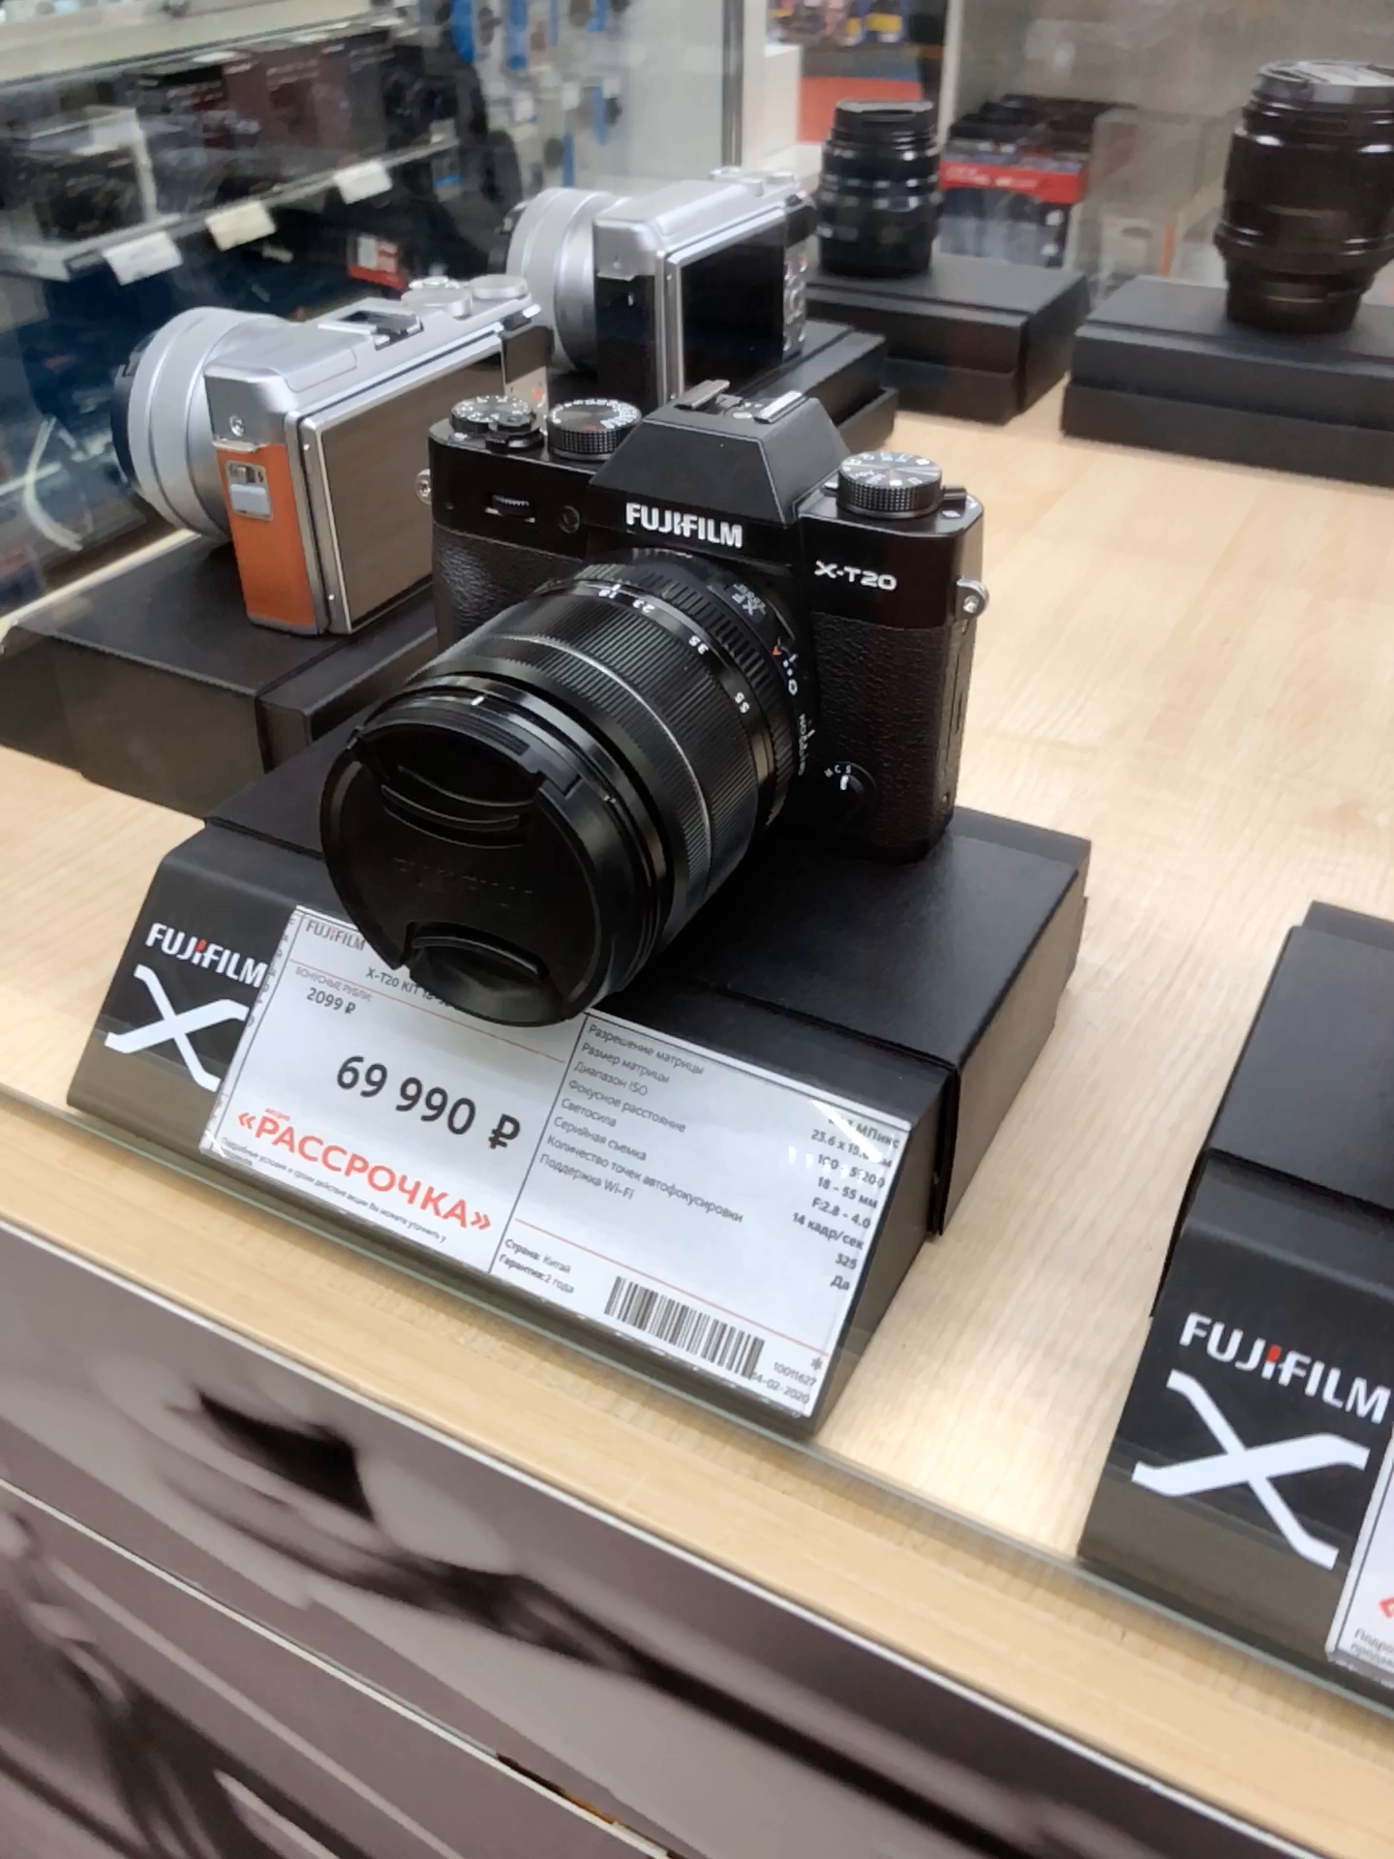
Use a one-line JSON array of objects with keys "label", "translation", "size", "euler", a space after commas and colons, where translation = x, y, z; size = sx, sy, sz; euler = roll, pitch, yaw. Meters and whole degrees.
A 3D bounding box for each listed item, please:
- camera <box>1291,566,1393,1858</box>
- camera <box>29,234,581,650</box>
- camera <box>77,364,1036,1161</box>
[{"label": "camera", "translation": [0.166, 0.019, 0.206], "size": [0.130, 0.071, 0.124], "euler": [18, 39, 22]}, {"label": "camera", "translation": [-0.095, -0.135, 0.410], "size": [0.074, 0.063, 0.122], "euler": [17, 39, 22]}, {"label": "camera", "translation": [-0.019, -0.045, 0.304], "size": [0.122, 0.080, 0.131], "euler": [19, 40, 24]}]
